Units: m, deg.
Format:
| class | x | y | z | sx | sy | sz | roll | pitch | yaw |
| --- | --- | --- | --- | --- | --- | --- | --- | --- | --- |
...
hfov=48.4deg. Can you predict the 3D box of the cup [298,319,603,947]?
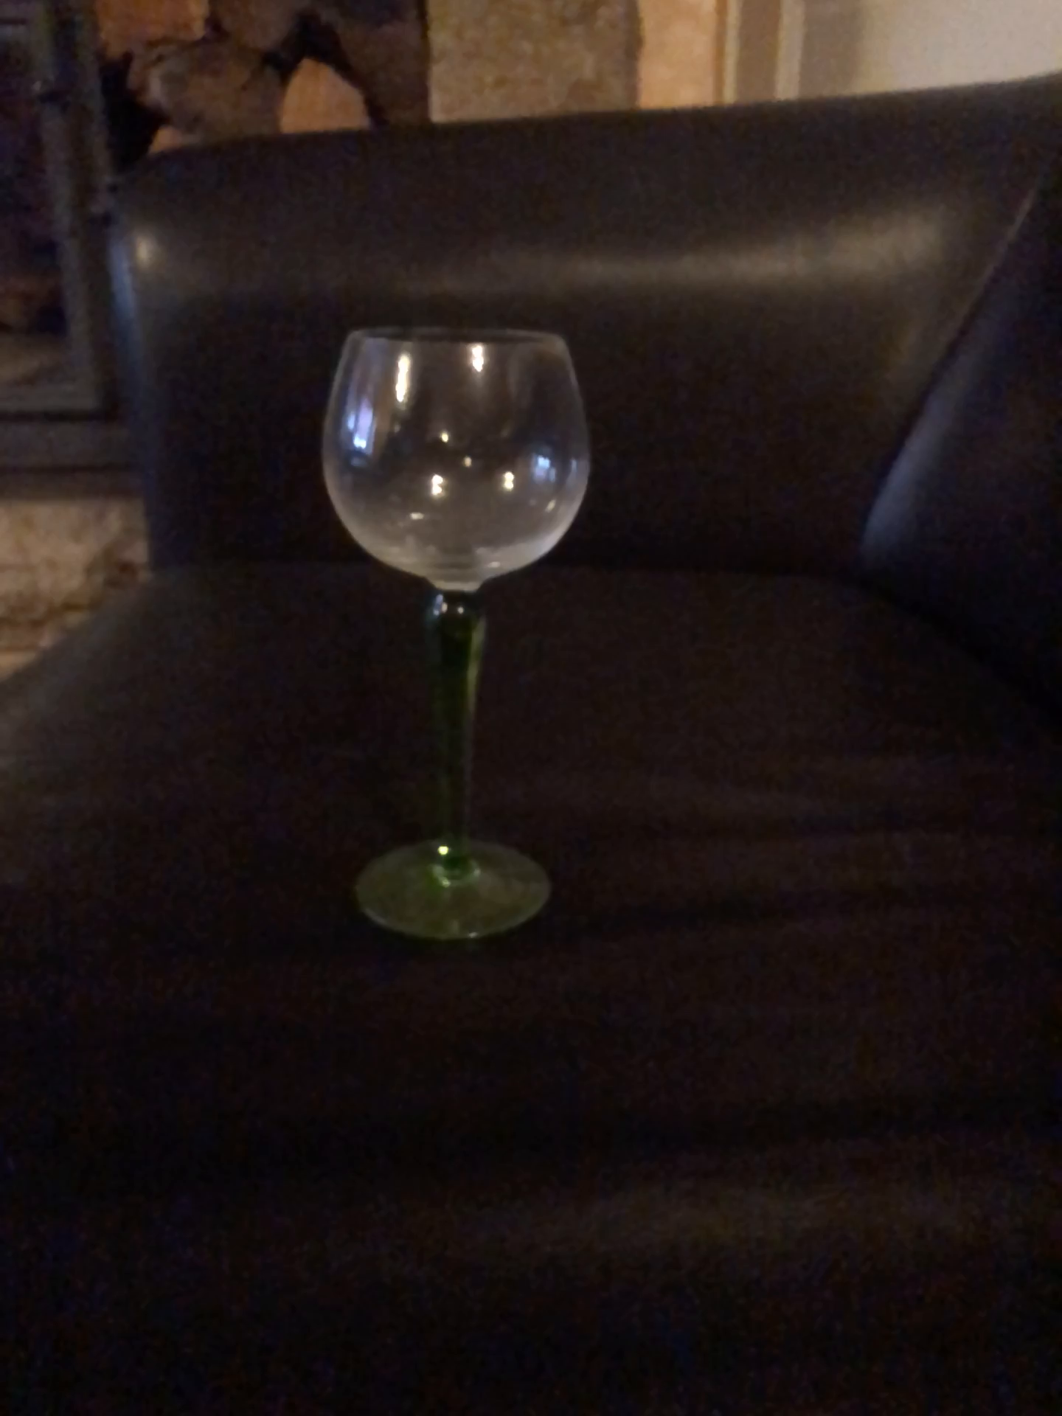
| class | x | y | z | sx | sy | sz | roll | pitch | yaw |
| --- | --- | --- | --- | --- | --- | --- | --- | --- | --- |
| cup | -0.023 | -0.027 | 0.386 | 0.079 | 0.185 | 0.080 | 2 | 19 | -1 |
